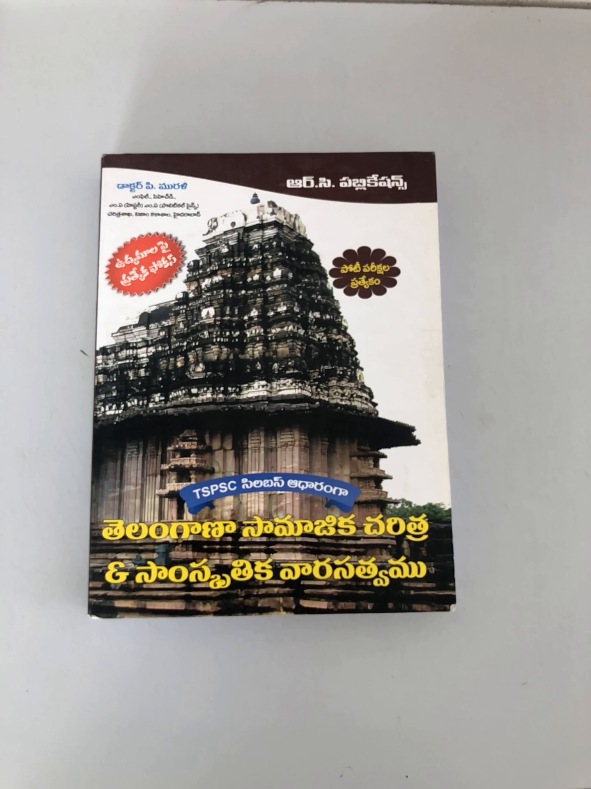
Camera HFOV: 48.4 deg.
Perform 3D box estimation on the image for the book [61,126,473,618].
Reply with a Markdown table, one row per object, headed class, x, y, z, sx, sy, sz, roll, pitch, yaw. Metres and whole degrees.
| class | x | y | z | sx | sy | sz | roll | pitch | yaw |
| --- | --- | --- | --- | --- | --- | --- | --- | --- | --- |
| book | -0.014 | -0.015 | 0.326 | 0.180 | 0.040 | 0.230 | 0 | 81 | -3 |
